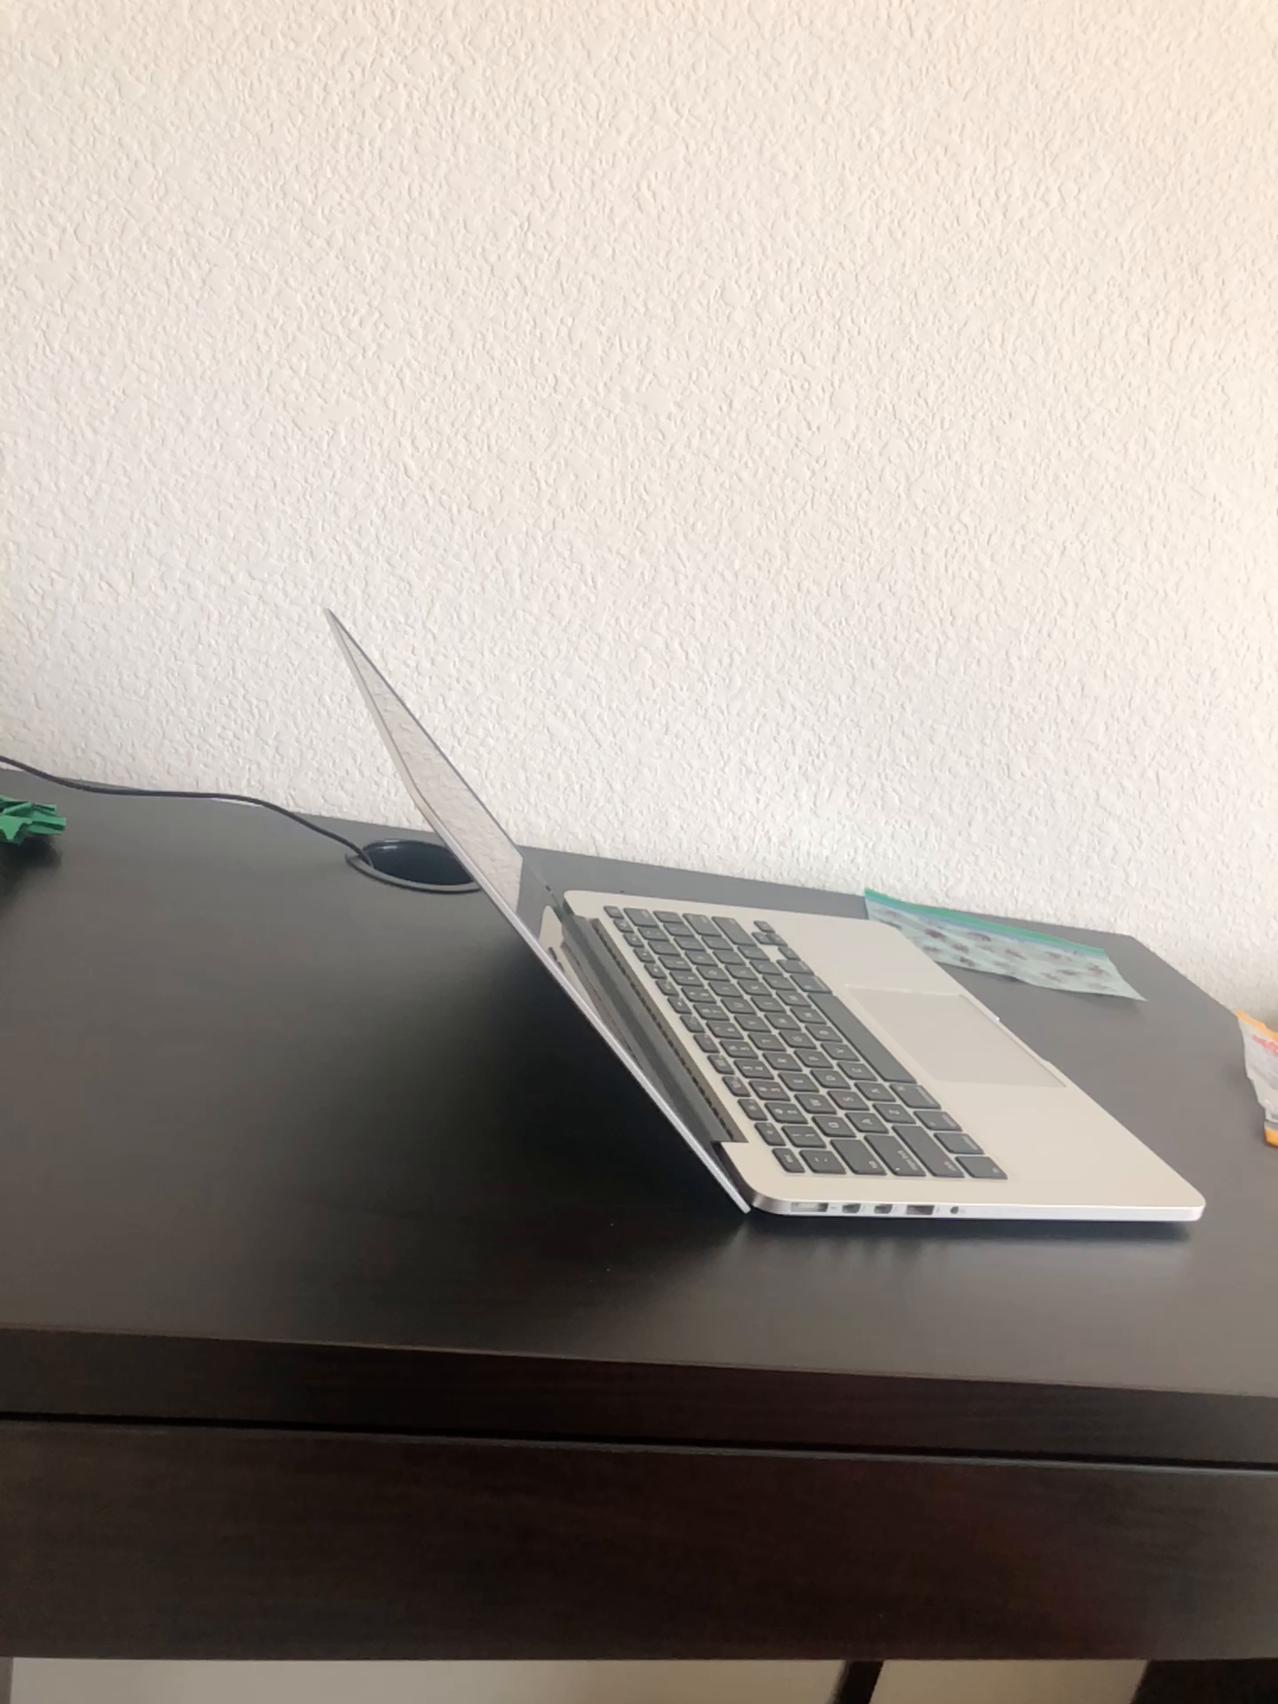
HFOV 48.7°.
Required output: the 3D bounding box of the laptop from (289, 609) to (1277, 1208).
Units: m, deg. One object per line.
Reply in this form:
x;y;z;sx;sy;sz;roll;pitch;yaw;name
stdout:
0.043;0.014;0.656;0.362;0.133;0.309;7;18;-20;laptop
